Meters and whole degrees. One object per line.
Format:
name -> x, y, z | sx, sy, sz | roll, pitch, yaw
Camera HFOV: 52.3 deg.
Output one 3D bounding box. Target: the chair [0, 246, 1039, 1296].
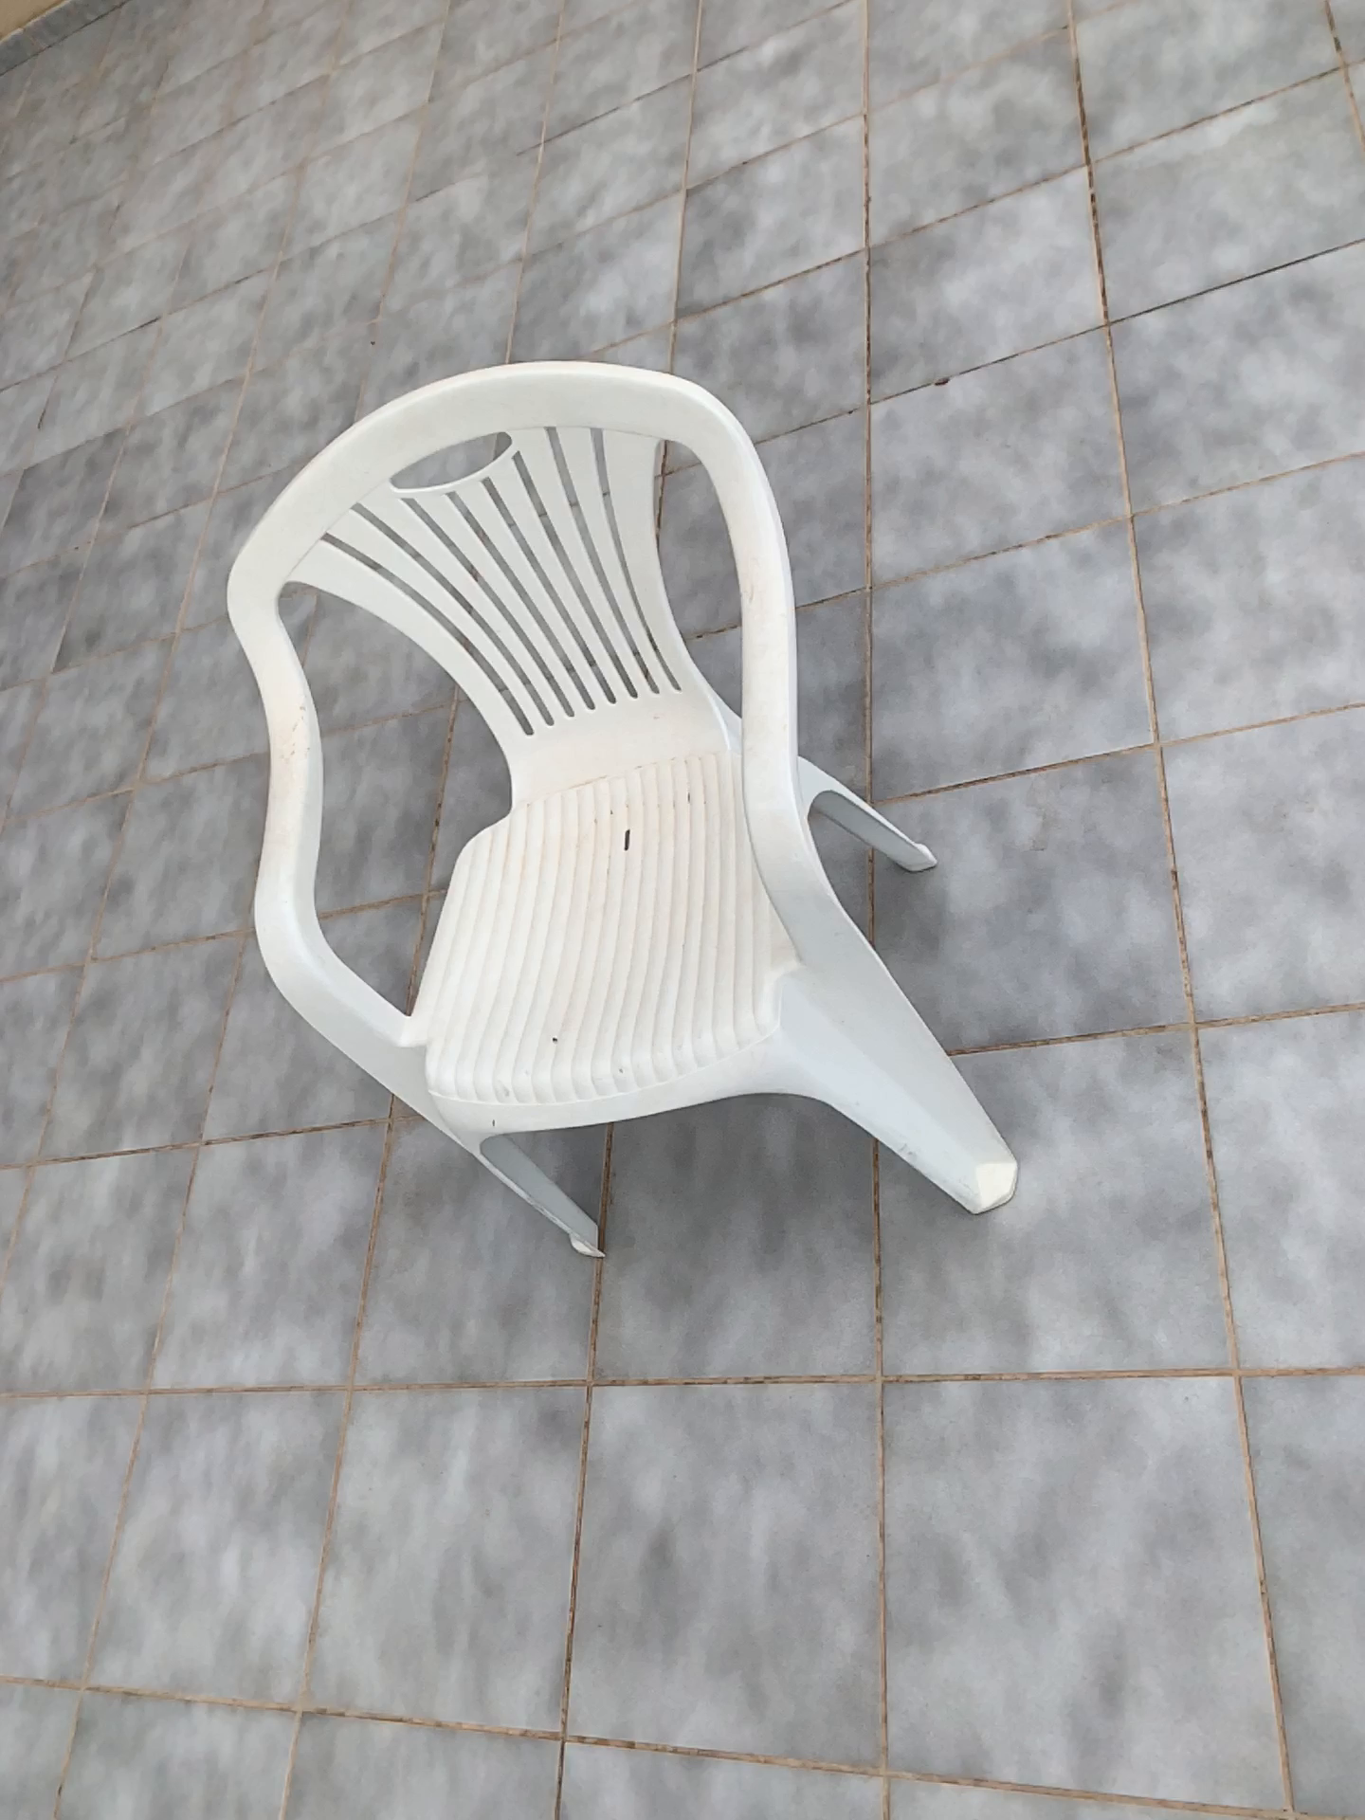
chair -> -0.077, -0.038, 1.260 | 0.572, 0.666, 0.561 | -14, 58, 22
